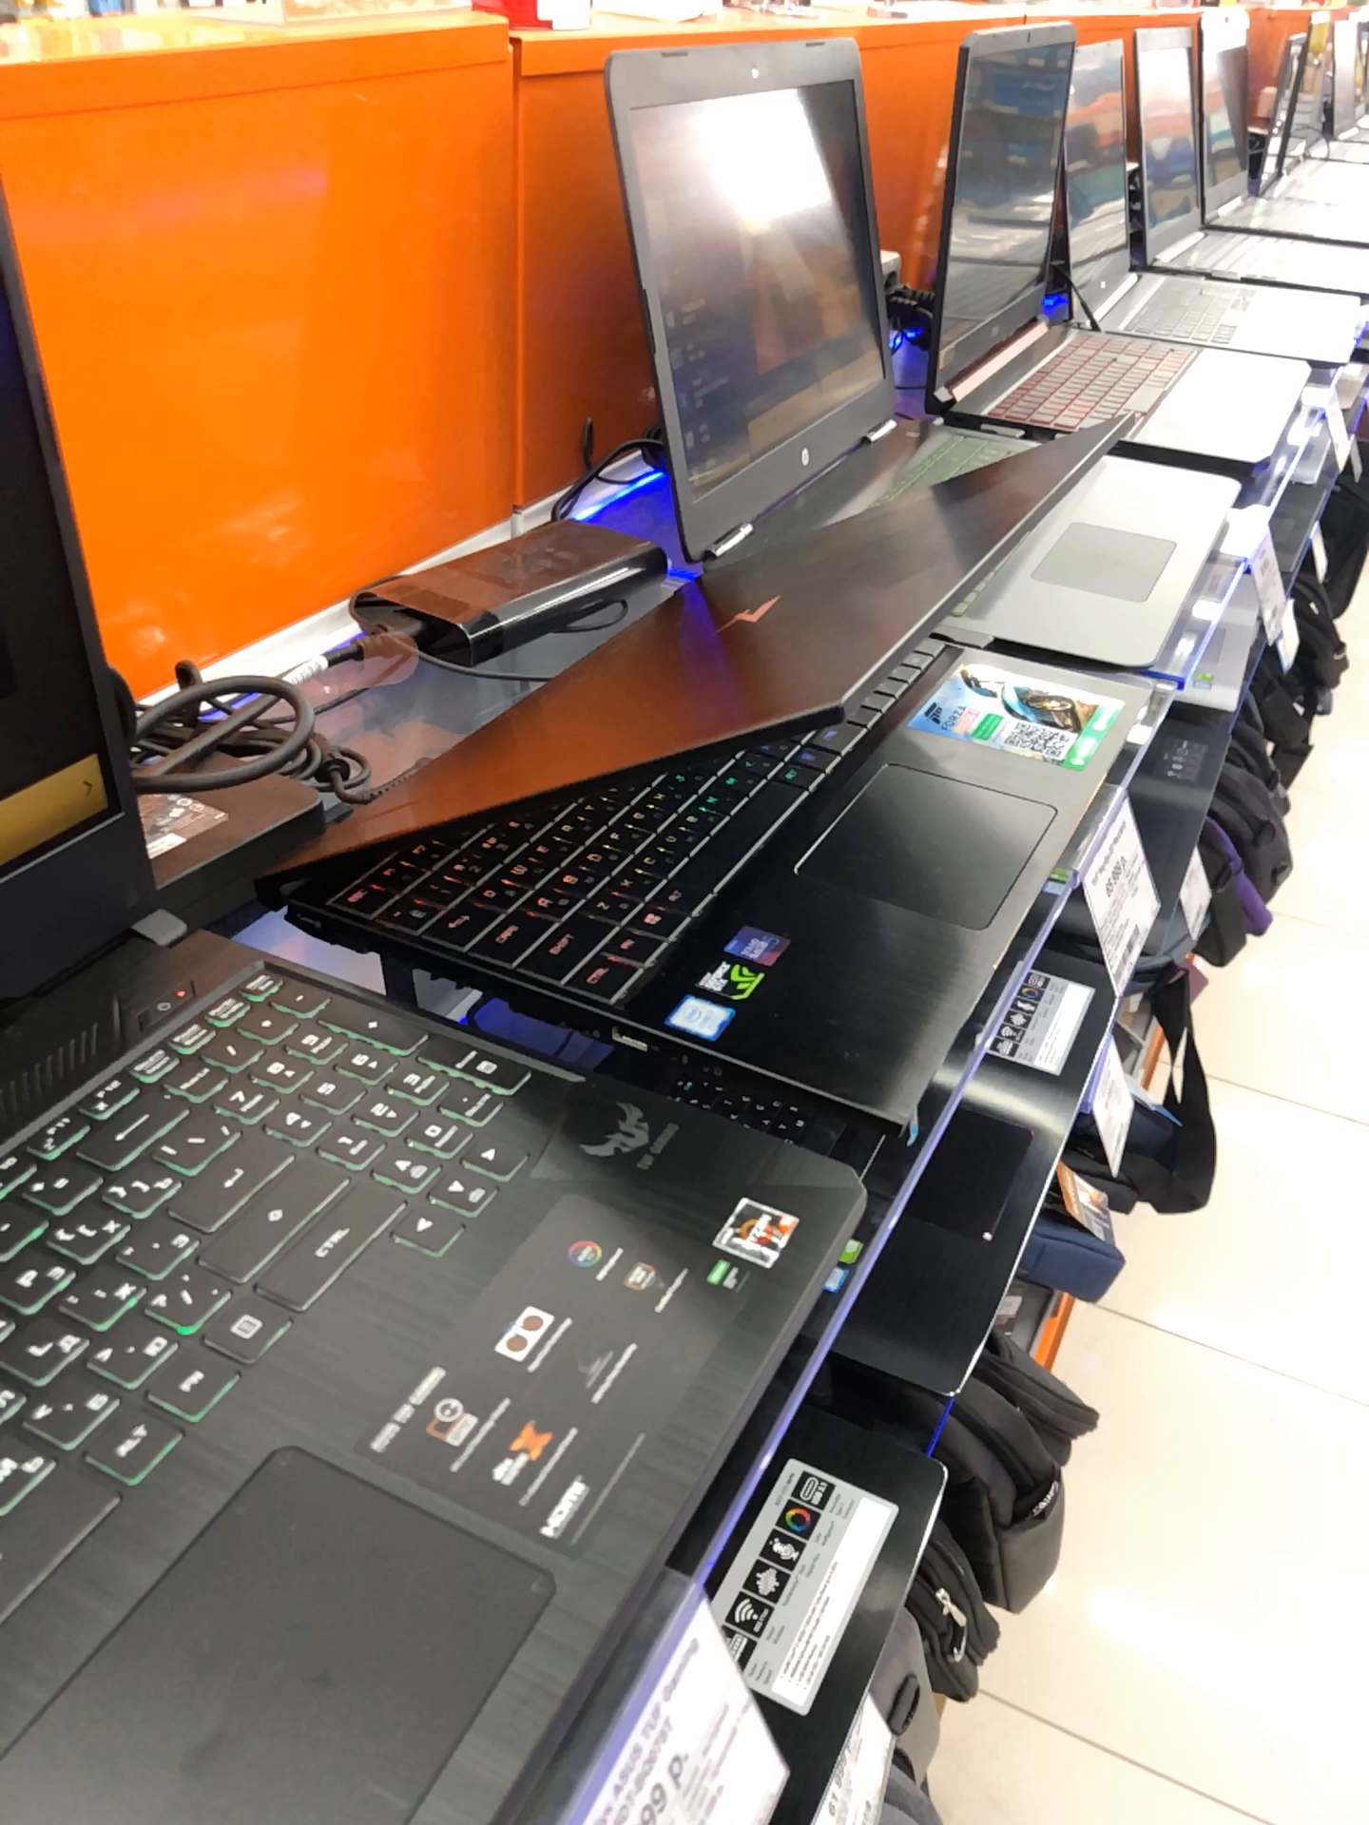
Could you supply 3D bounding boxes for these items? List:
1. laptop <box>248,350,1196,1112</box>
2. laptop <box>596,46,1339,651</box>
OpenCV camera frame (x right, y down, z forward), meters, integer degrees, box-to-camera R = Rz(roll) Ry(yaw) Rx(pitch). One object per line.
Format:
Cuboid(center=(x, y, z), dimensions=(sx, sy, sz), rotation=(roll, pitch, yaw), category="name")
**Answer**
Cuboid(center=(0.043, -0.109, 0.603), dimensions=(0.233, 0.118, 0.361), rotation=(18, 36, 19), category="laptop")
Cuboid(center=(0.169, -0.353, 0.881), dimensions=(0.306, 0.252, 0.336), rotation=(15, 34, 20), category="laptop")
